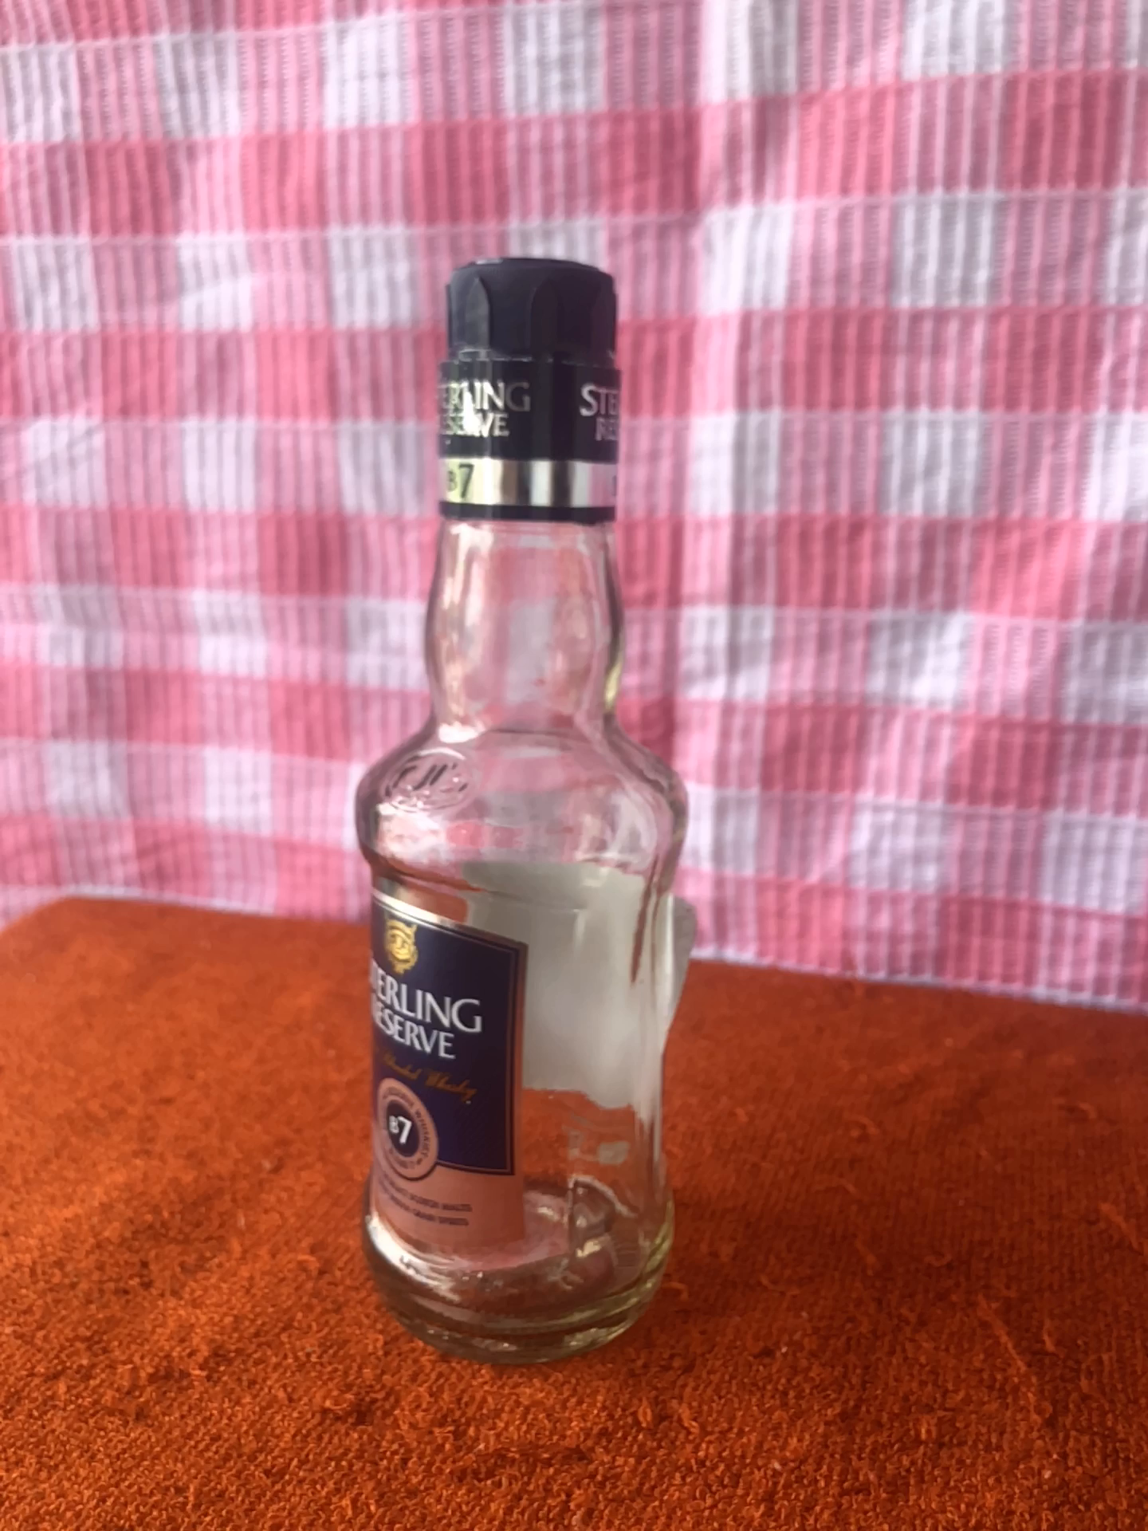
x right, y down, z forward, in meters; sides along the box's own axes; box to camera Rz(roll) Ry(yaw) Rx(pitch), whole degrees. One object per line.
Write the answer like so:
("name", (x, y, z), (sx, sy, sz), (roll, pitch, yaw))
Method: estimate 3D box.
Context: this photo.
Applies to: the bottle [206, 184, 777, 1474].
("bottle", (-0.014, 0.008, 0.199), (0.060, 0.169, 0.050), (16, 21, 41))
